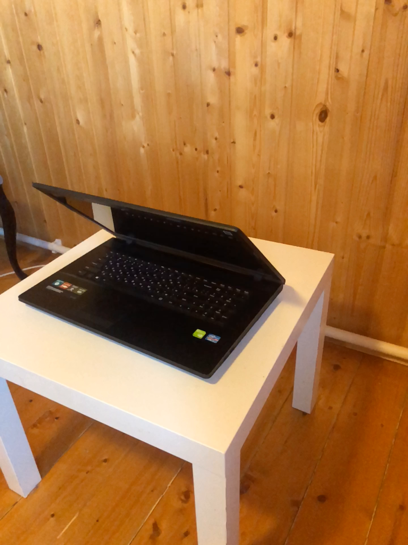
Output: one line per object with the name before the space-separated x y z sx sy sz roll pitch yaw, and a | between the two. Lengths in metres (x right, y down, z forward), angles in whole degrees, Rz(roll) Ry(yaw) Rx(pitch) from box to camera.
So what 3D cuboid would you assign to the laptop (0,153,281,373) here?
laptop | -0.112 -0.047 0.764 0.402 0.183 0.252 16 37 26
